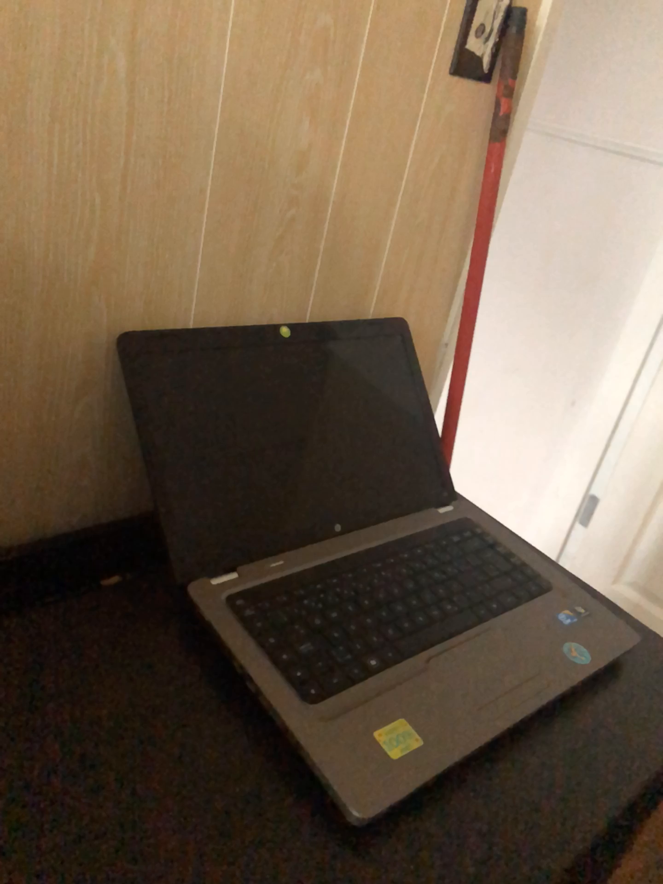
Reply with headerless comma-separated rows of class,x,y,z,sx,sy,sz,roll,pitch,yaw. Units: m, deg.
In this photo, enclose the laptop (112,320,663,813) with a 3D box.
laptop,0.054,0.047,0.692,0.364,0.154,0.420,-10,37,-39
